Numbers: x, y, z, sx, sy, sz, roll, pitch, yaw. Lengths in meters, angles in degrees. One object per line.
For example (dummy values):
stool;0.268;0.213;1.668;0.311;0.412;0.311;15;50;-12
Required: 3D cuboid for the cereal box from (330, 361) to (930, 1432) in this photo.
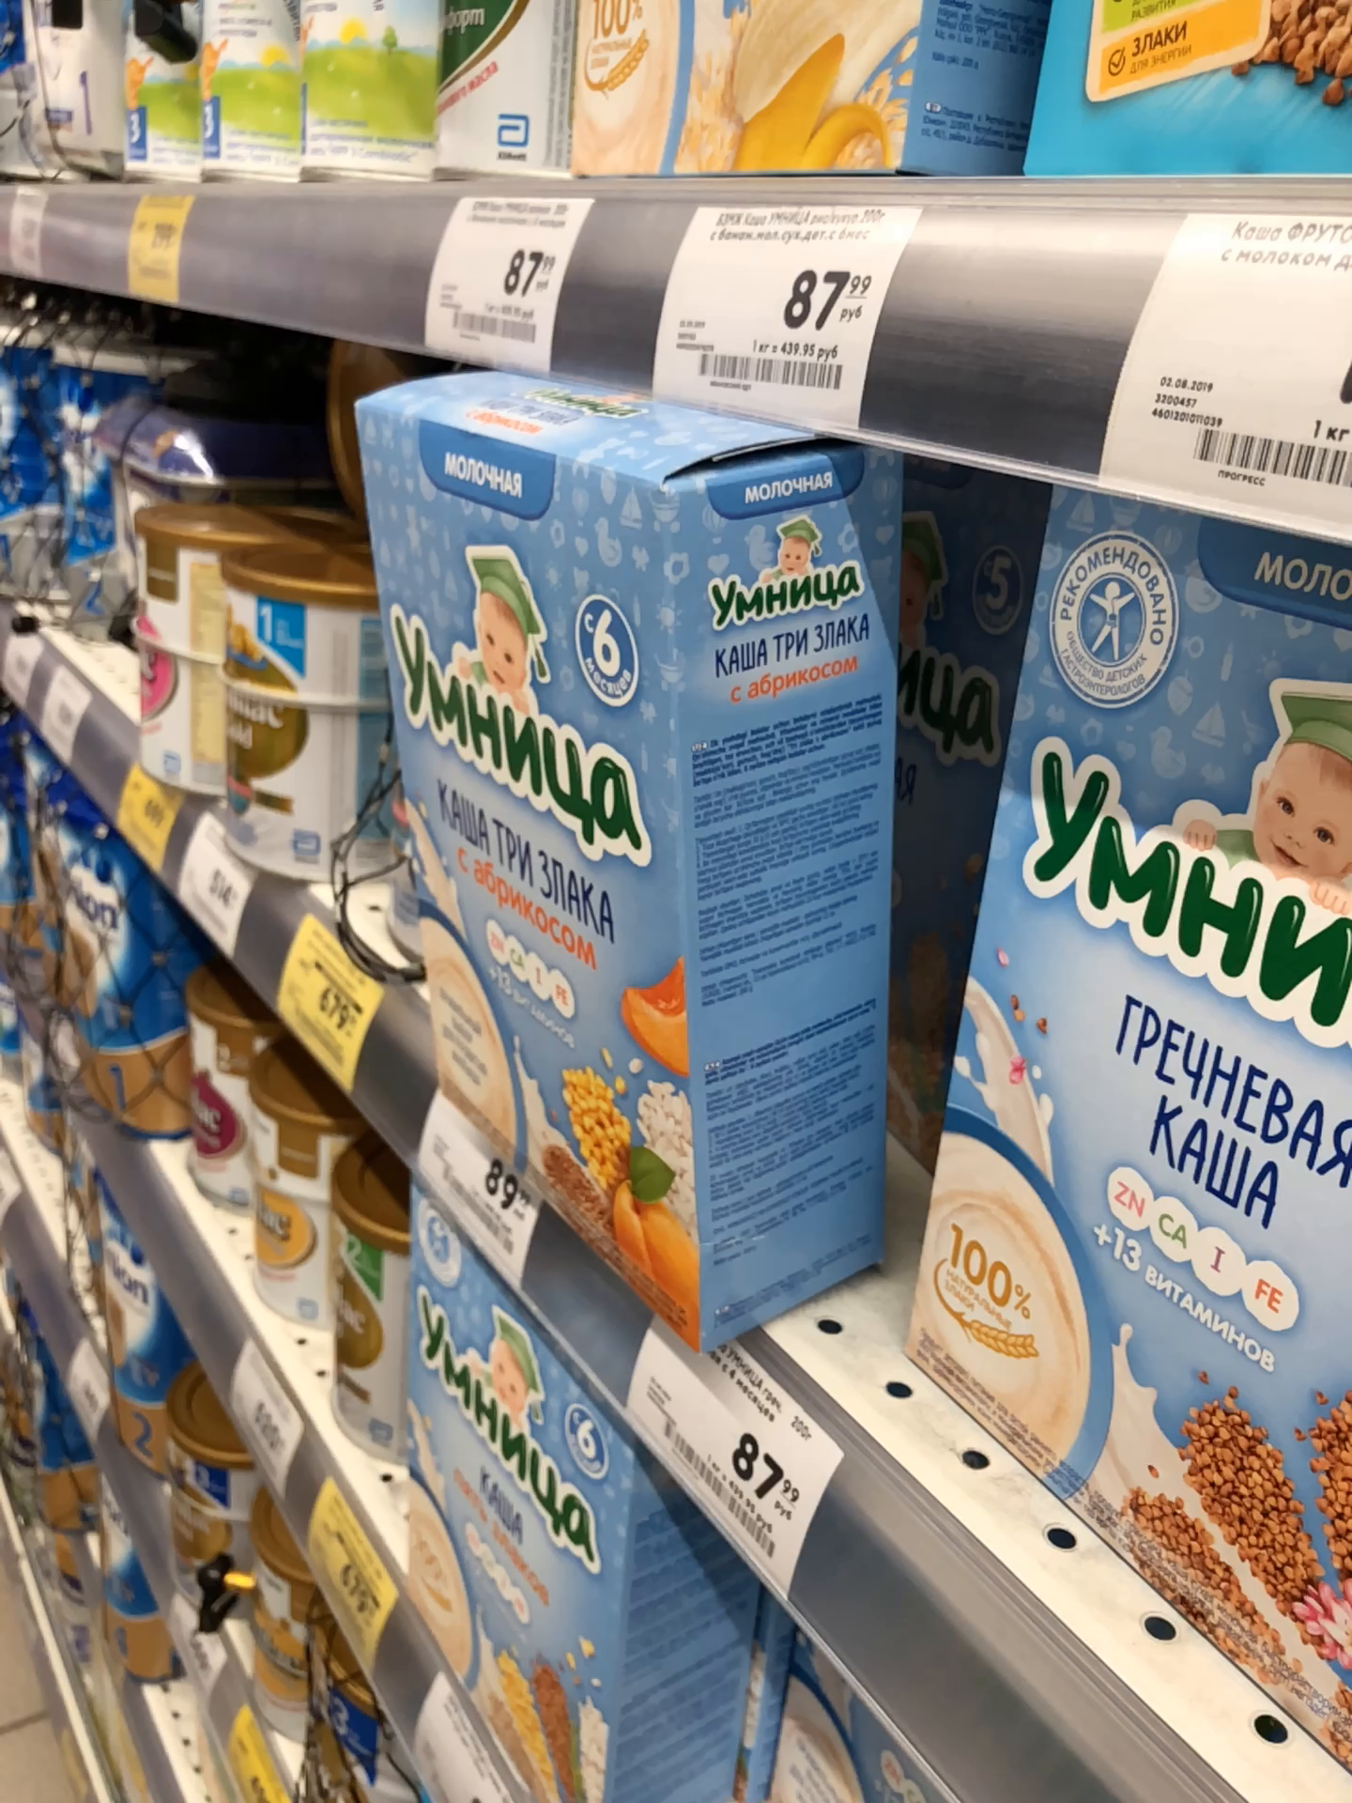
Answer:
cereal box;-0.013;-0.009;0.357;0.060;0.209;0.140;-18;30;-28
